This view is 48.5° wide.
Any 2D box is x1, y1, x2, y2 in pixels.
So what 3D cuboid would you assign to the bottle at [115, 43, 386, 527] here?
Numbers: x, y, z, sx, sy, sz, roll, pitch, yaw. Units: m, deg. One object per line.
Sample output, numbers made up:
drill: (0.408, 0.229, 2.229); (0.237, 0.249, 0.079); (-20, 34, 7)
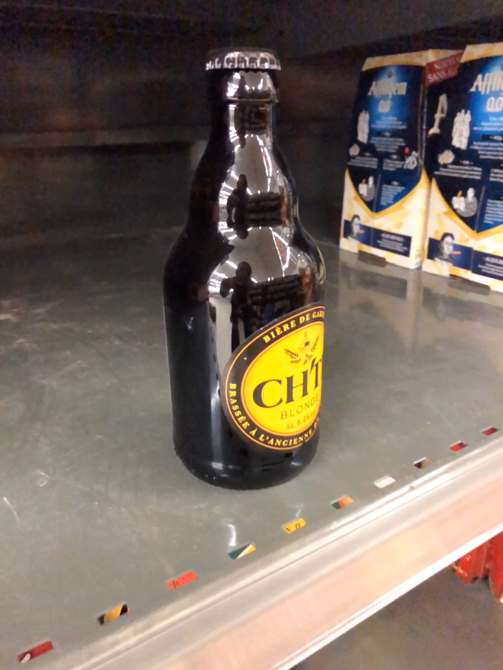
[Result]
bottle: (0.001, -0.022, 0.235); (0.070, 0.169, 0.070); (-1, 21, 0)
